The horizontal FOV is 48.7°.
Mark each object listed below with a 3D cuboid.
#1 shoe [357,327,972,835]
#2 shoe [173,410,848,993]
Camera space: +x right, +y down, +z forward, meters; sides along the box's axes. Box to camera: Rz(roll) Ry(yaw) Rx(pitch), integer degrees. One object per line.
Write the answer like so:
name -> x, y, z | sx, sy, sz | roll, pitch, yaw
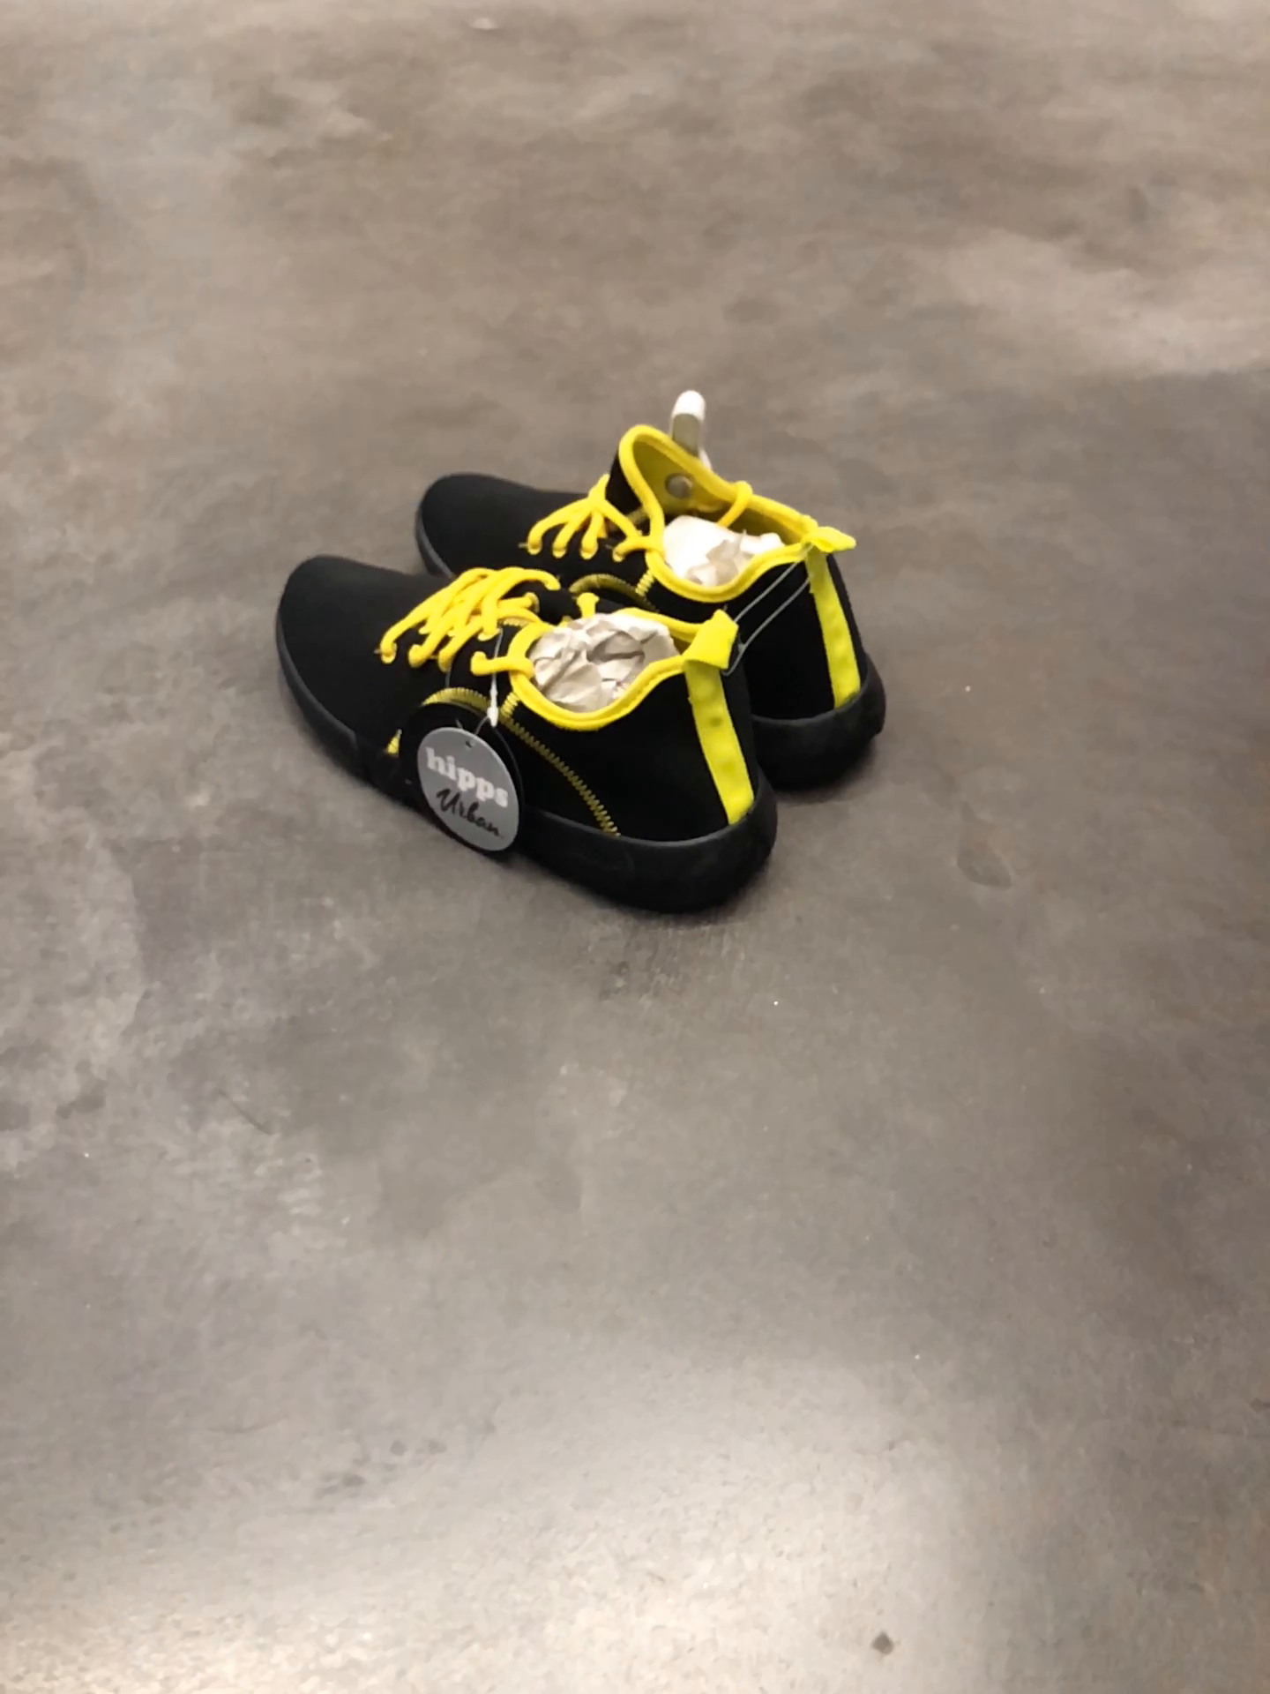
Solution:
shoe -> 0.005, -0.116, 0.577 | 0.230, 0.099, 0.091 | 30, 51, 25
shoe -> -0.049, -0.062, 0.518 | 0.230, 0.099, 0.091 | 30, 51, 25
